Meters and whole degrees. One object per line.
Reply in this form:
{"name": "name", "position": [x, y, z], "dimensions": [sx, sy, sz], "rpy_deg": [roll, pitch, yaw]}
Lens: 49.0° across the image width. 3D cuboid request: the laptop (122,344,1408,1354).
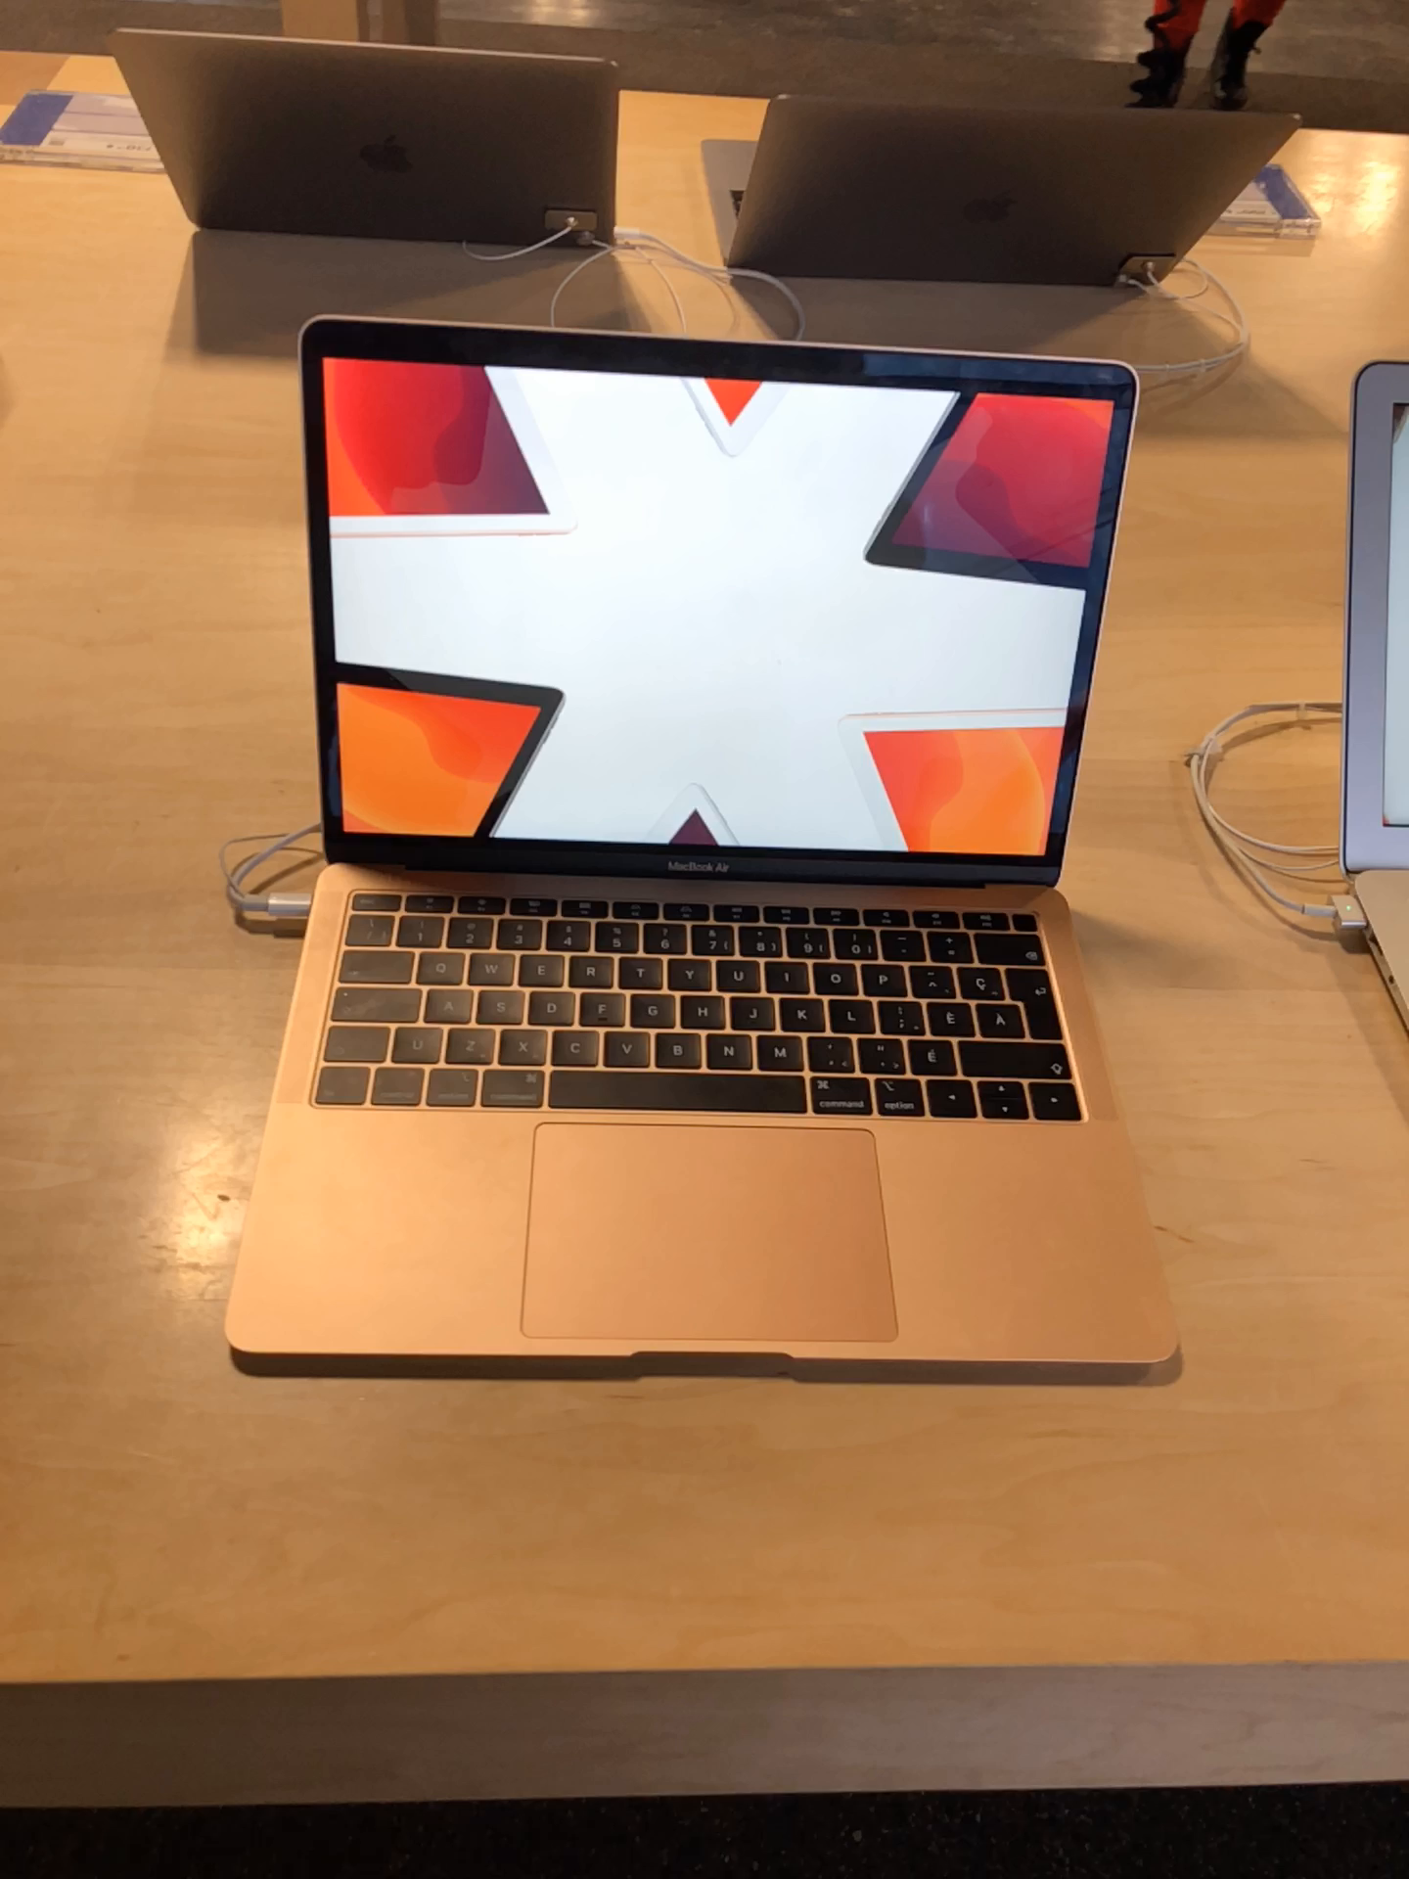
{"name": "laptop", "position": [0.010, -0.039, 0.513], "dimensions": [0.291, 0.183, 0.285], "rpy_deg": [2, 45, -3]}
